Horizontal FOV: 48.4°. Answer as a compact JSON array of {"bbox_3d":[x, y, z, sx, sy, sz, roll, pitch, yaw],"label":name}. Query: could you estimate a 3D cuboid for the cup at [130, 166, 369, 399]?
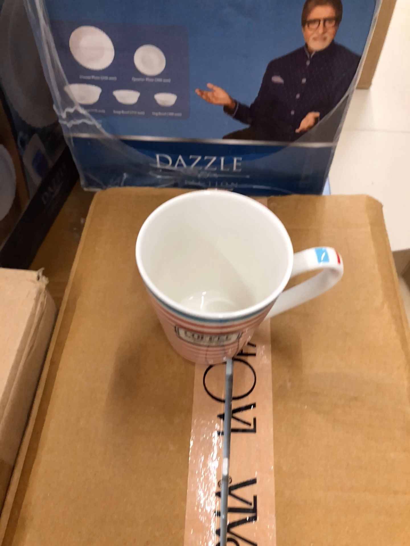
[{"bbox_3d":[0.017,0.008,0.278,0.110,0.100,0.090,-6,53,-5],"label":"cup"}]
